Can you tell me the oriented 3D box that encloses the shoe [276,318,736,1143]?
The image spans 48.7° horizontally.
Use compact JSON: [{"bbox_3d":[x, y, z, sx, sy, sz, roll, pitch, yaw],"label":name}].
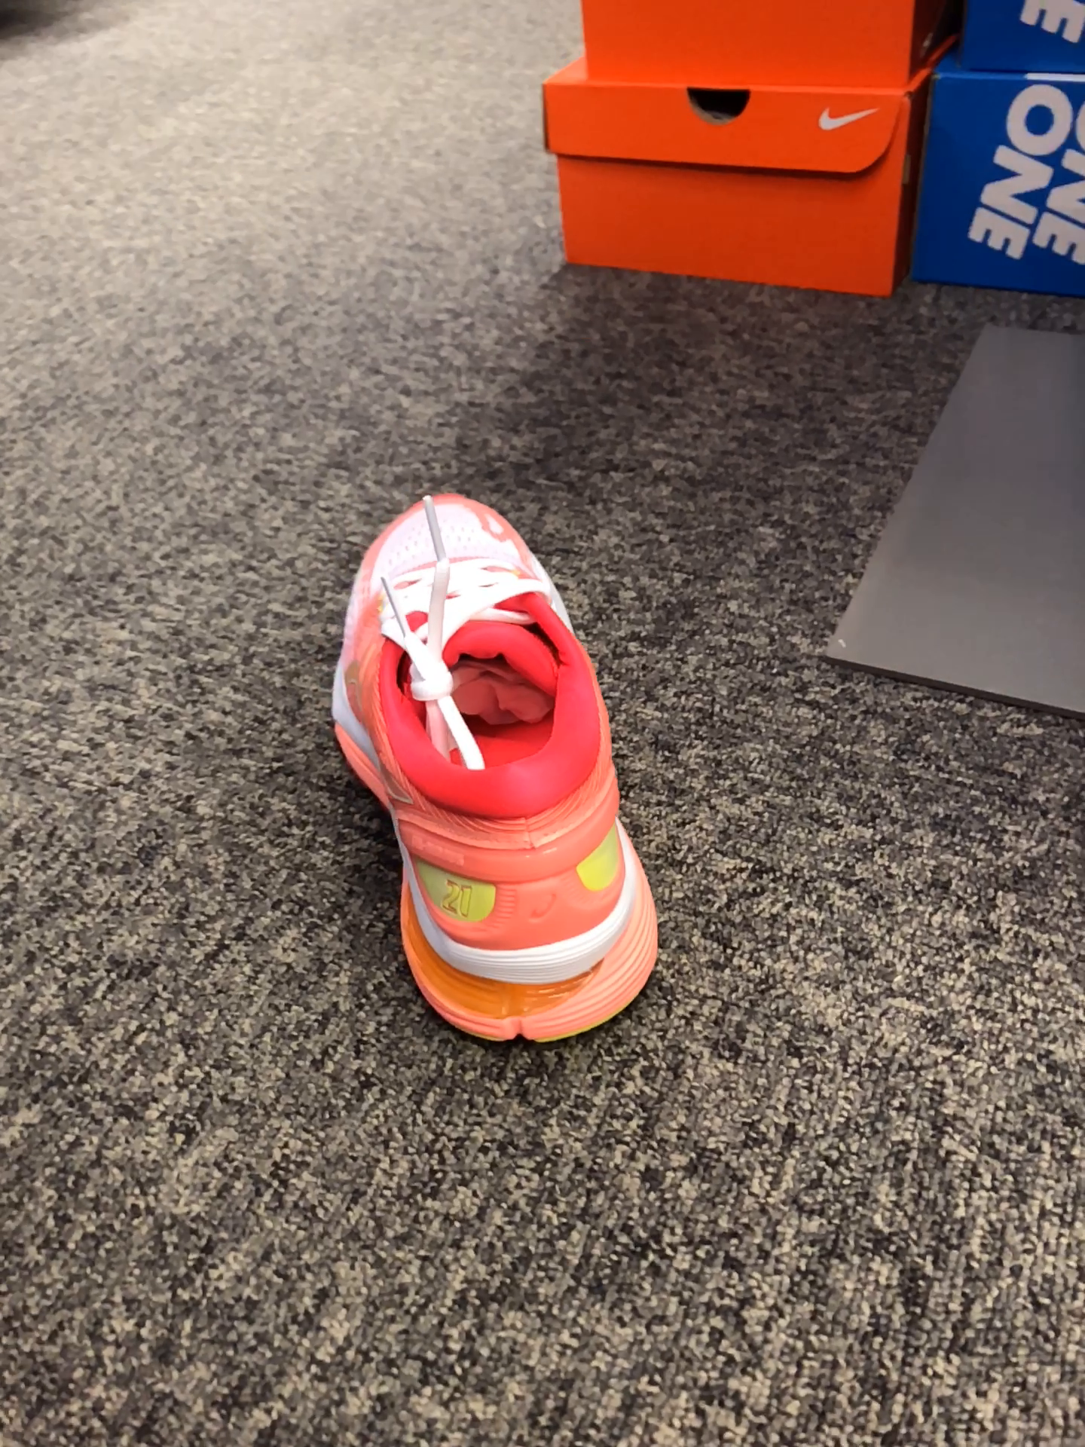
[{"bbox_3d":[-0.024,-0.018,0.423,0.107,0.129,0.269,-11,42,-4],"label":"shoe"}]
